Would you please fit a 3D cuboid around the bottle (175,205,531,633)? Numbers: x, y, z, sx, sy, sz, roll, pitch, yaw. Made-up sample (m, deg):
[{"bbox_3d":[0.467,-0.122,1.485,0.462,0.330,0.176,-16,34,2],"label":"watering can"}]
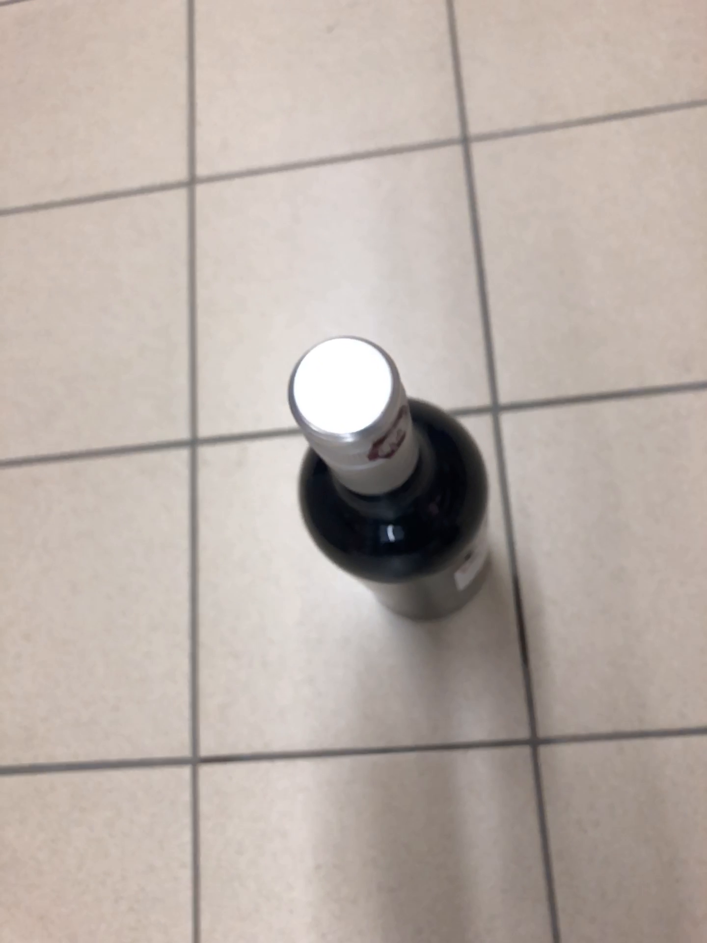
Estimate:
[{"bbox_3d":[0.020,0.014,0.346,0.080,0.300,0.080,-2,75,9],"label":"bottle"}]
